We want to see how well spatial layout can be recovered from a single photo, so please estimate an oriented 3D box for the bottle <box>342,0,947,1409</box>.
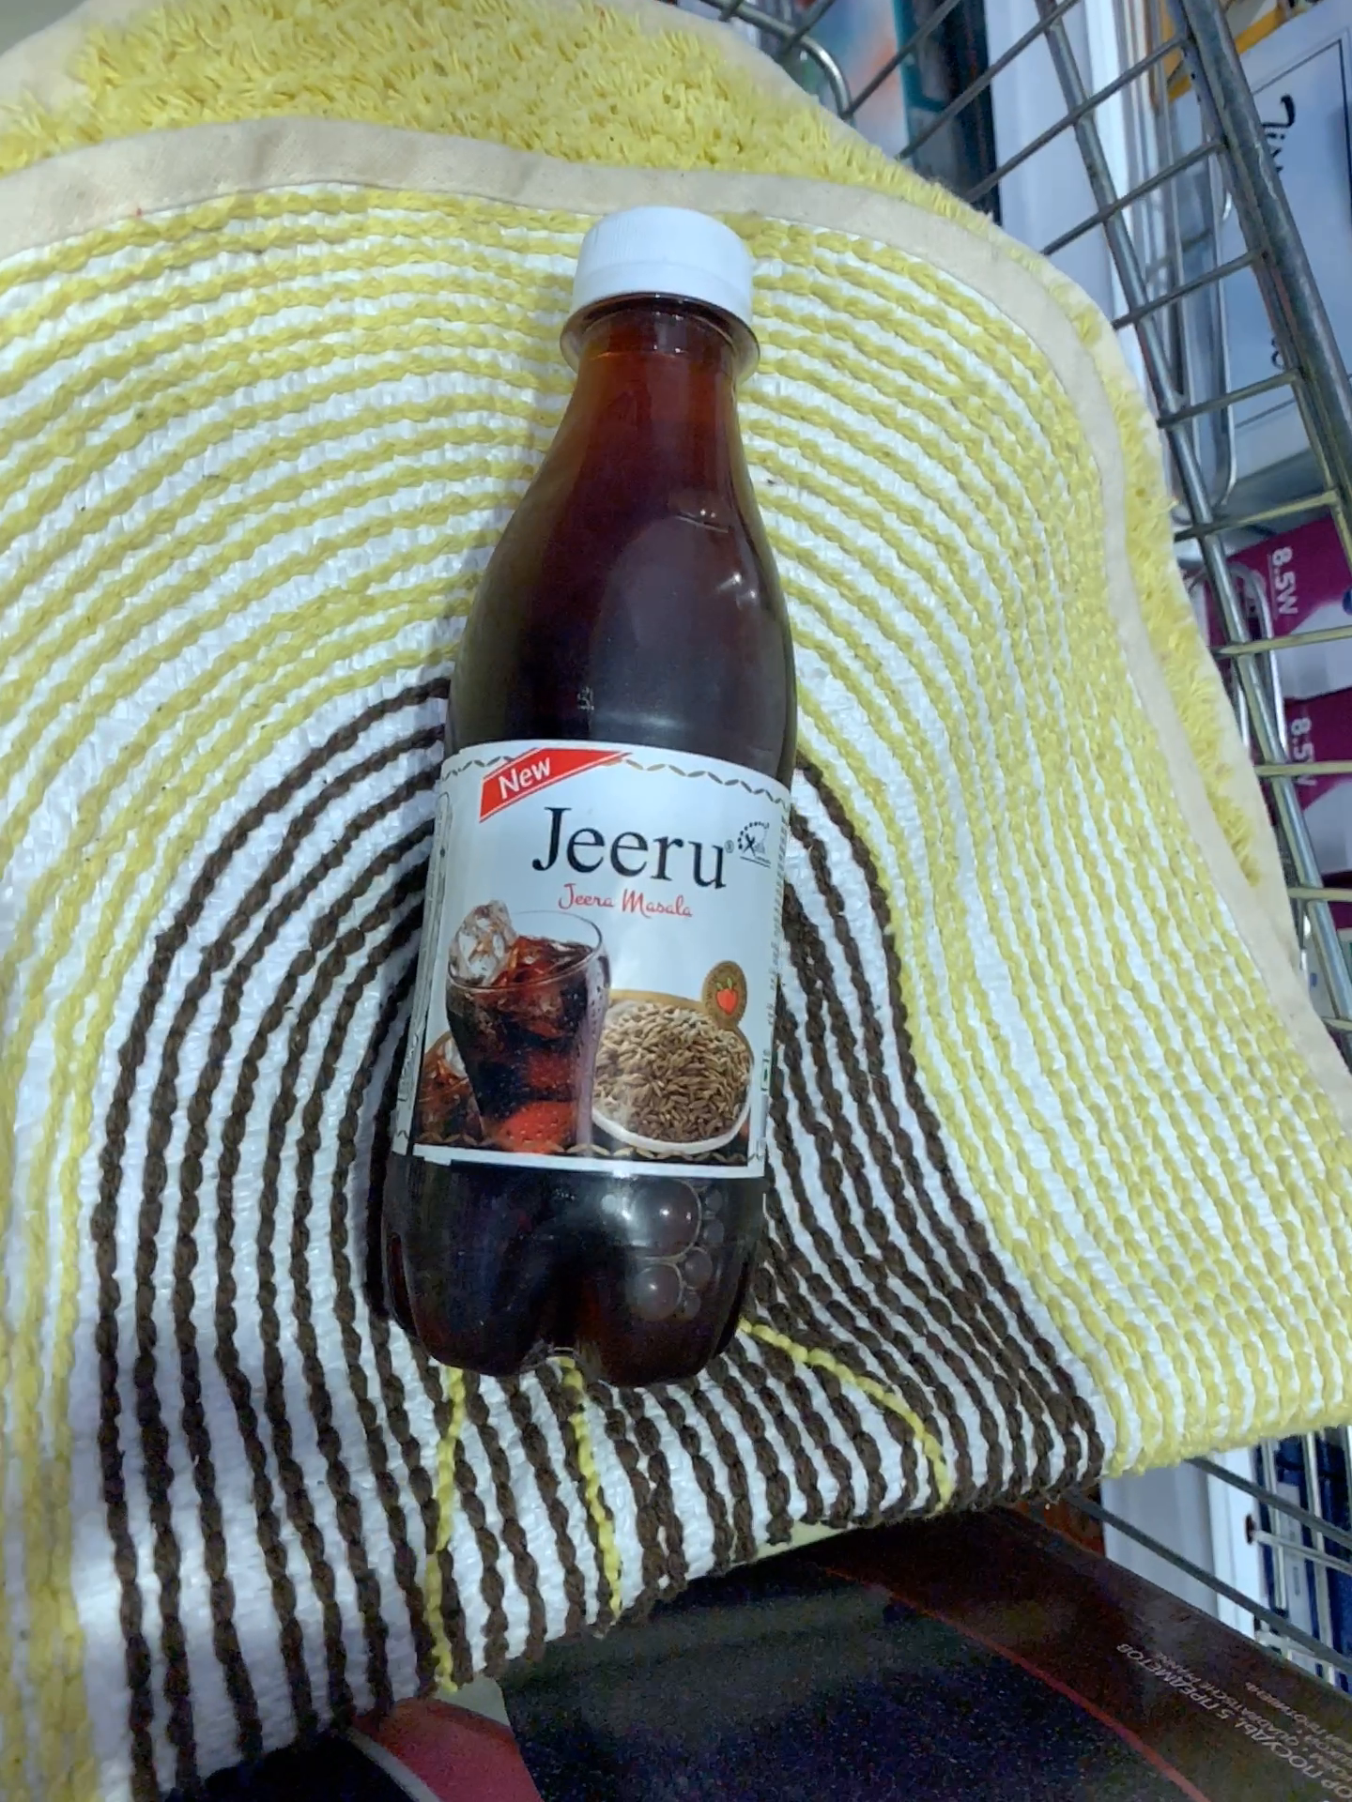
[{"bbox_3d":[-0.006,-0.024,0.210,0.060,0.060,0.180,7,82,-19],"label":"bottle"}]
